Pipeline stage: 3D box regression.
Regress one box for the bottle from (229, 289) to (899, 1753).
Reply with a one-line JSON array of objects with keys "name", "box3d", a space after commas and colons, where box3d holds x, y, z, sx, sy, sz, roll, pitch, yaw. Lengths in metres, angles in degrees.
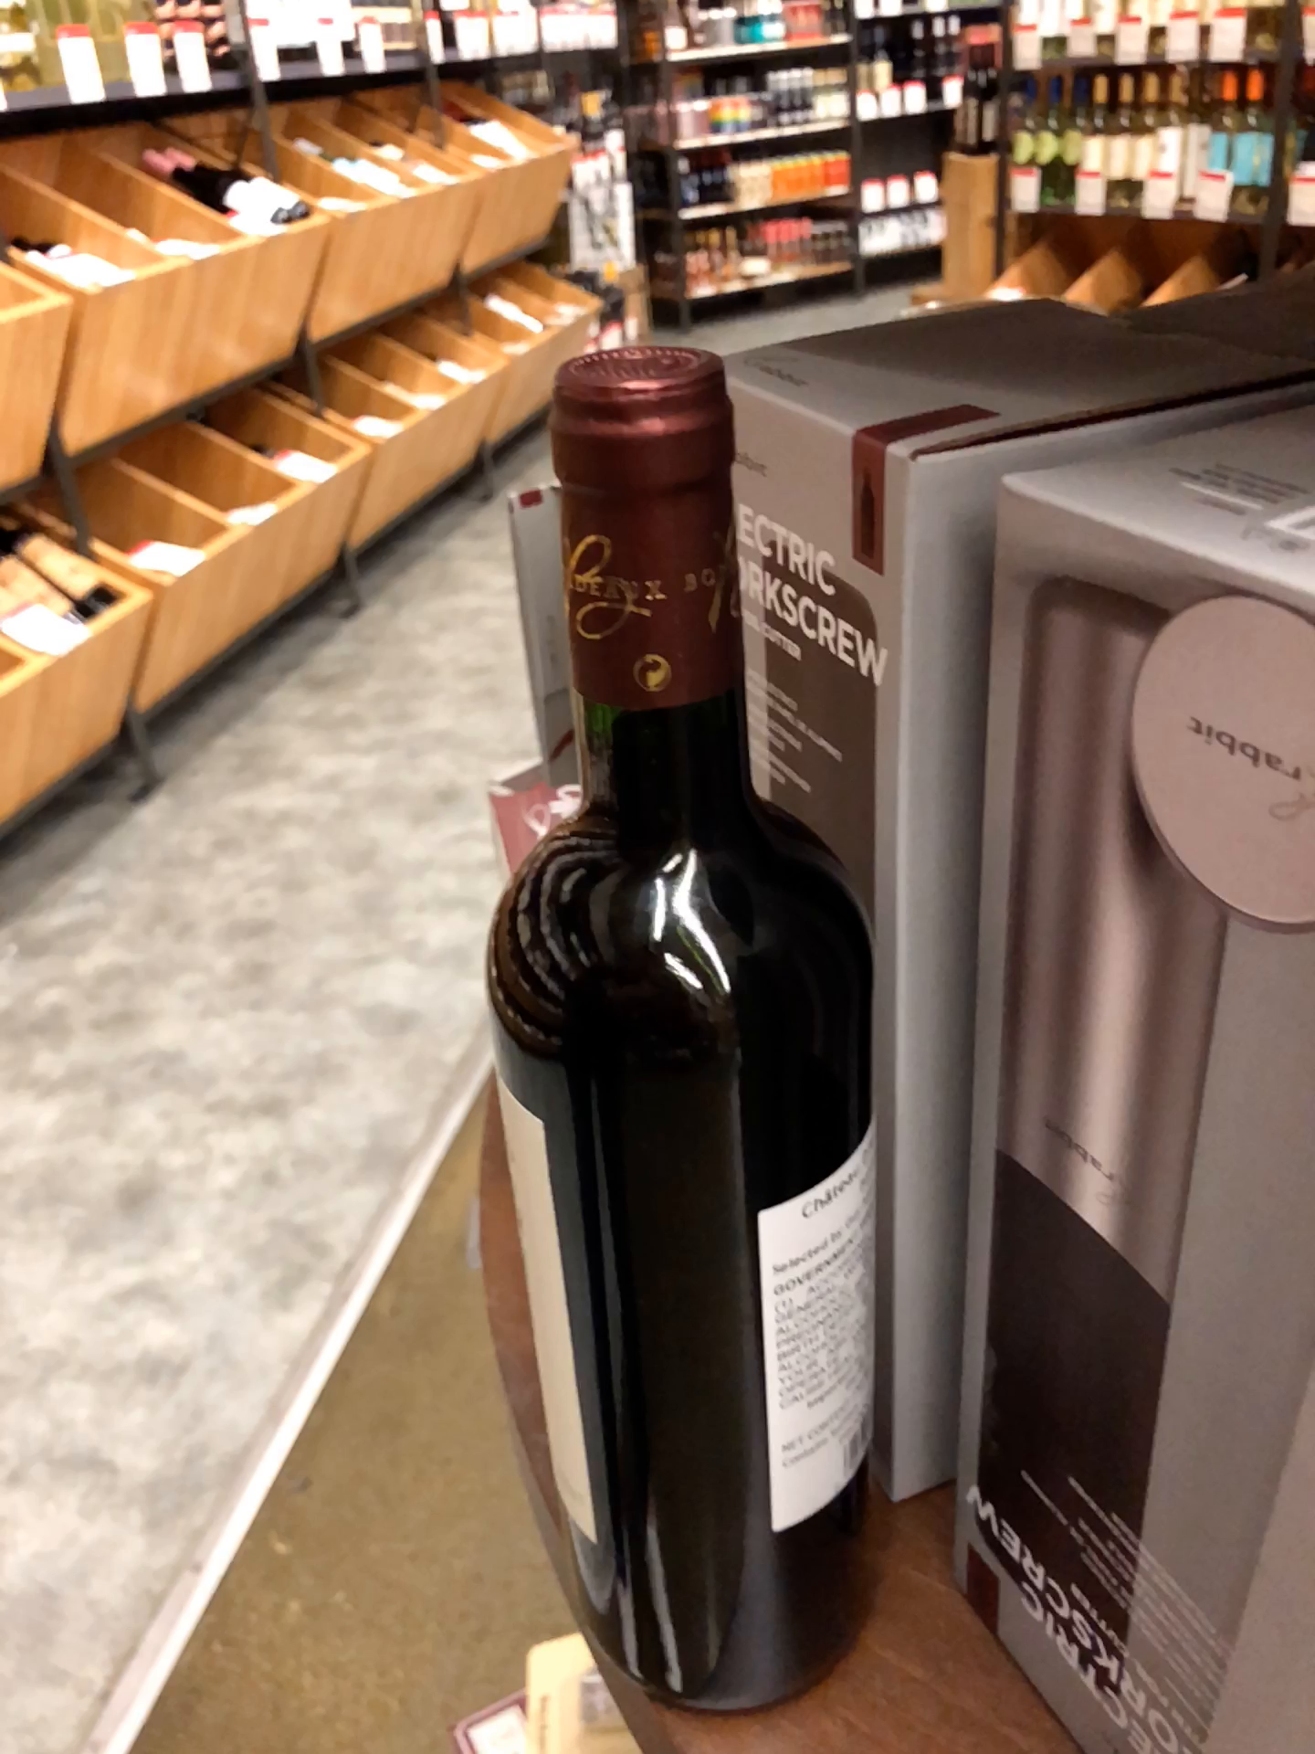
[{"name": "bottle", "box3d": [0.002, 0.048, 0.297, 0.080, 0.299, 0.080, -4, 28, 2]}]
